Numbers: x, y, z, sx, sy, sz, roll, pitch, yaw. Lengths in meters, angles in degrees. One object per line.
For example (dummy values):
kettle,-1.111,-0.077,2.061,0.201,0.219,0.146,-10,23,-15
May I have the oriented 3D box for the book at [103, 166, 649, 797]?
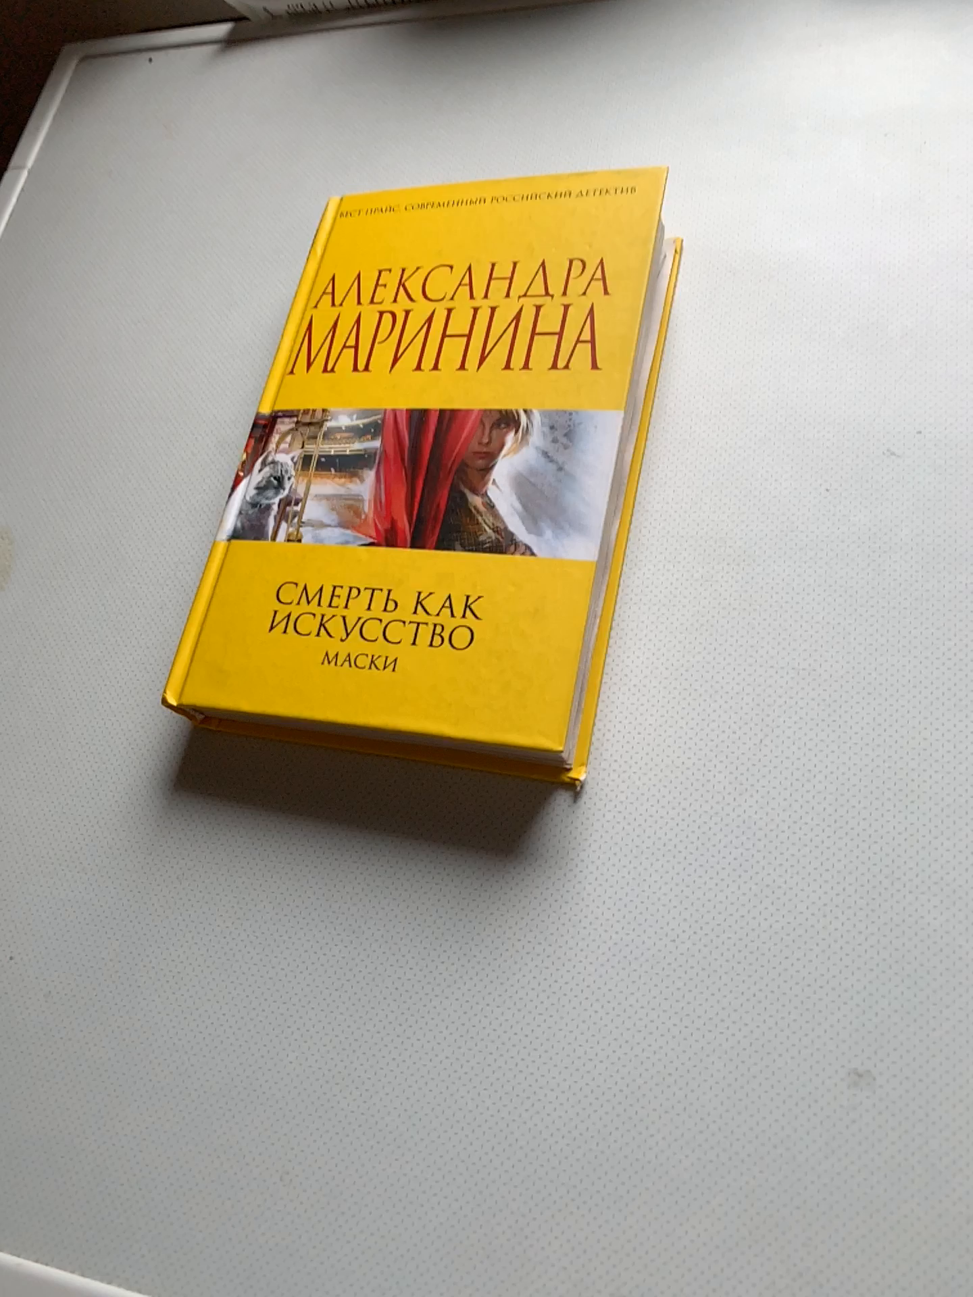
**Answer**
book,-0.026,-0.059,0.302,0.120,0.030,0.189,6,69,19
